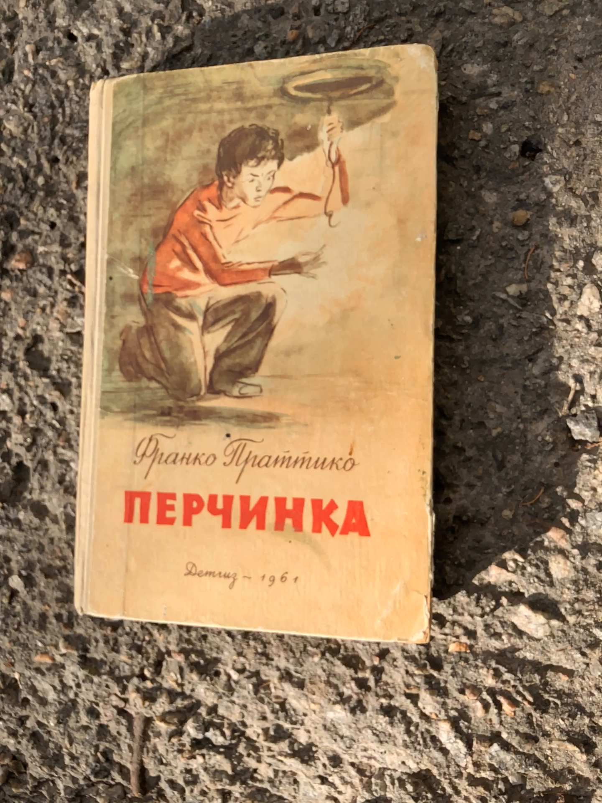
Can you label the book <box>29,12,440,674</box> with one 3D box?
[{"bbox_3d":[-0.021,-0.020,0.234,0.132,0.030,0.203,1,88,11],"label":"book"}]
